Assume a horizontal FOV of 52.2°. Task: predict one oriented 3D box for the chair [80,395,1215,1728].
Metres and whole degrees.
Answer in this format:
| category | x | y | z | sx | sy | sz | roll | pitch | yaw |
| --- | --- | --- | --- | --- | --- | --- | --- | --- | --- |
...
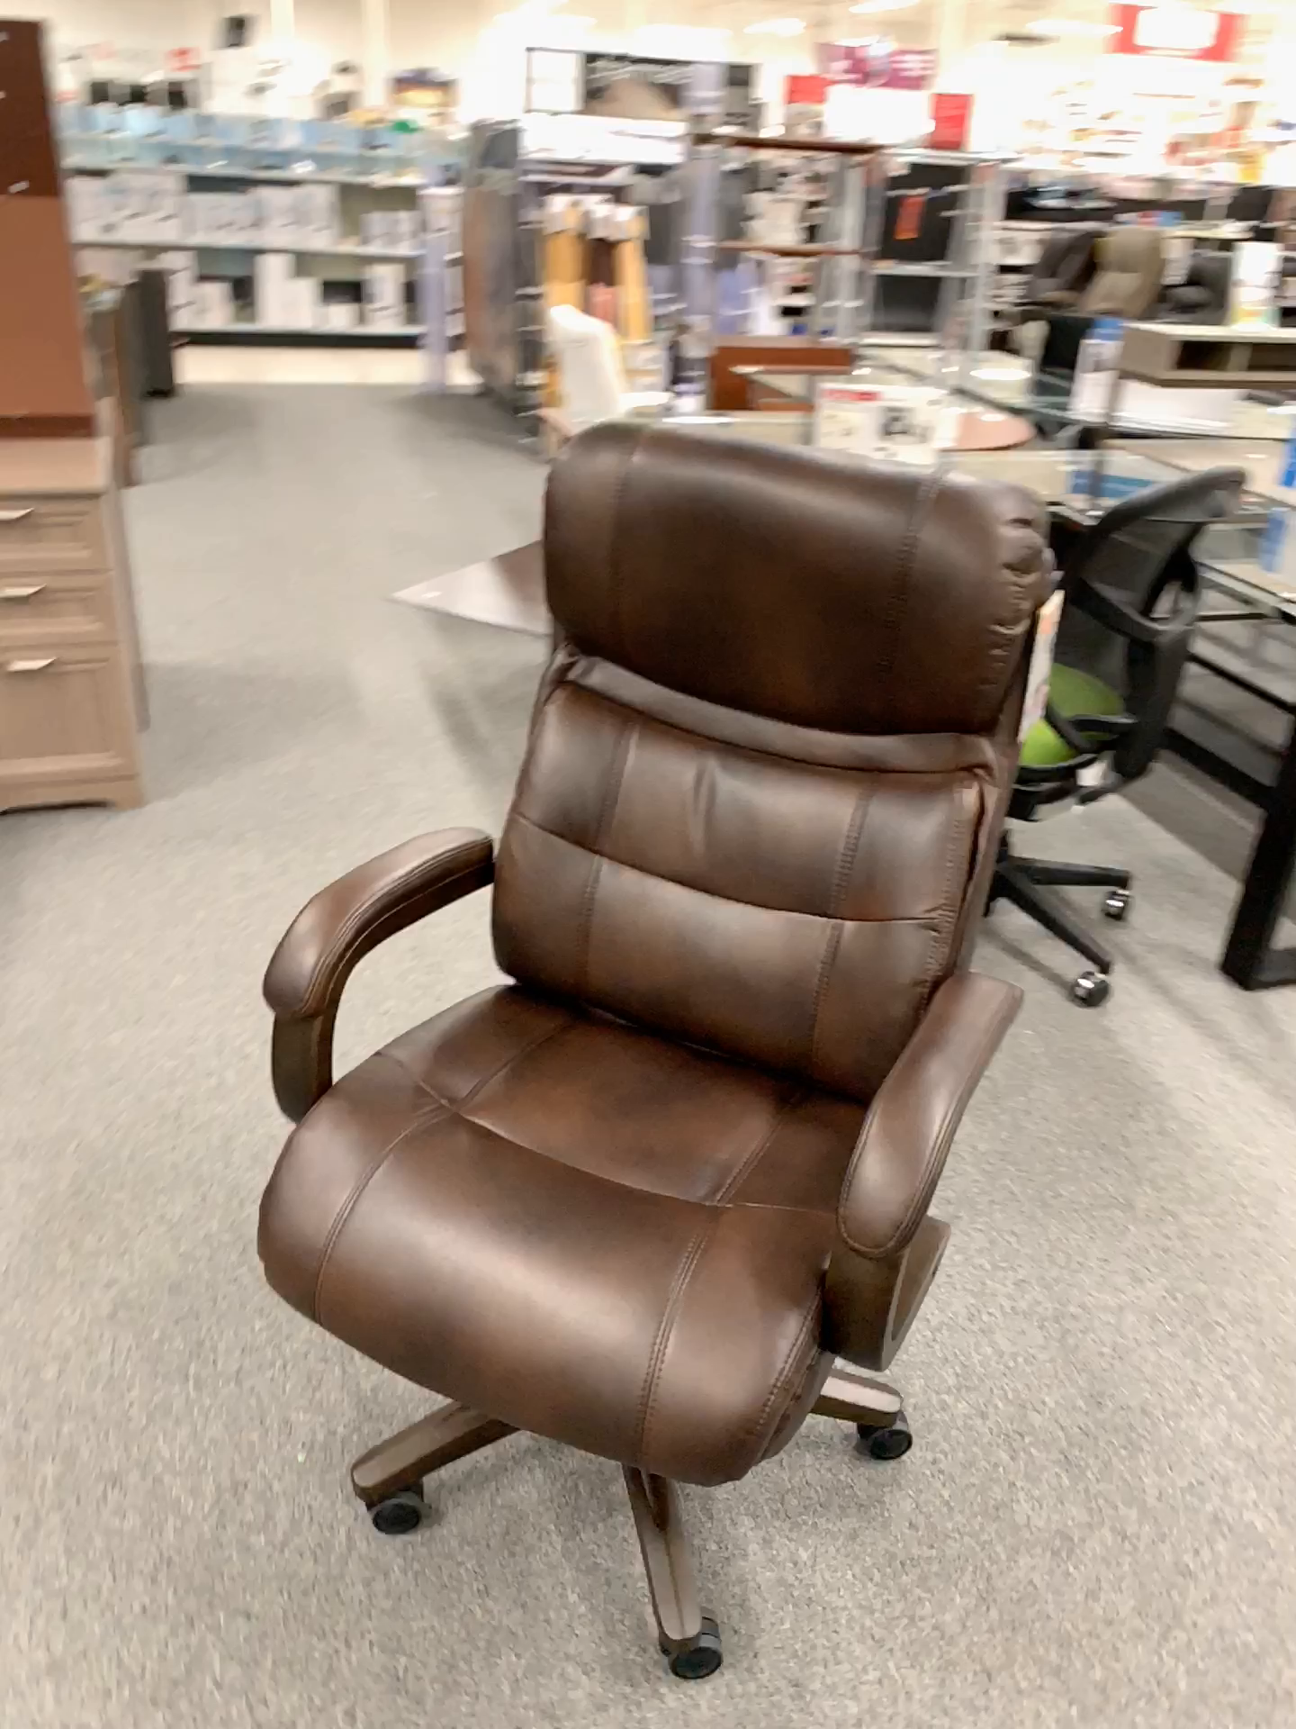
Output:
| category | x | y | z | sx | sy | sz | roll | pitch | yaw |
| --- | --- | --- | --- | --- | --- | --- | --- | --- | --- |
| chair | 0.029 | 0.164 | 1.400 | 0.751 | 1.094 | 0.703 | 16 | 30 | 22 |
